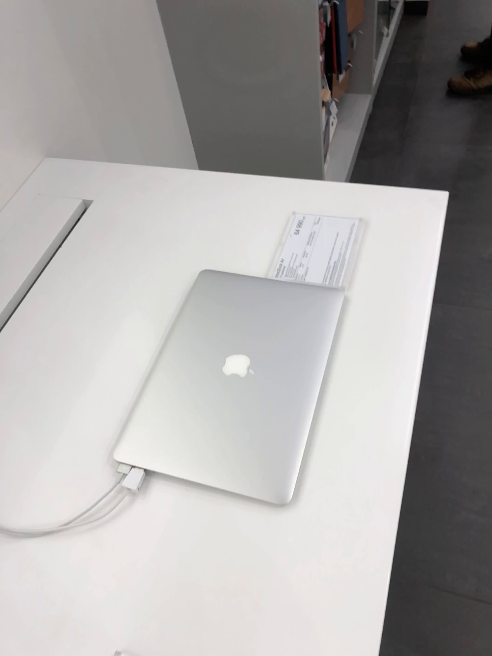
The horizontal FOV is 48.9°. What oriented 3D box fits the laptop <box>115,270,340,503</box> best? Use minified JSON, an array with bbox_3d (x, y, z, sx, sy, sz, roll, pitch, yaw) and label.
[{"bbox_3d":[-0.012,0.053,0.714,0.209,0.008,0.308,11,55,15],"label":"laptop"}]
